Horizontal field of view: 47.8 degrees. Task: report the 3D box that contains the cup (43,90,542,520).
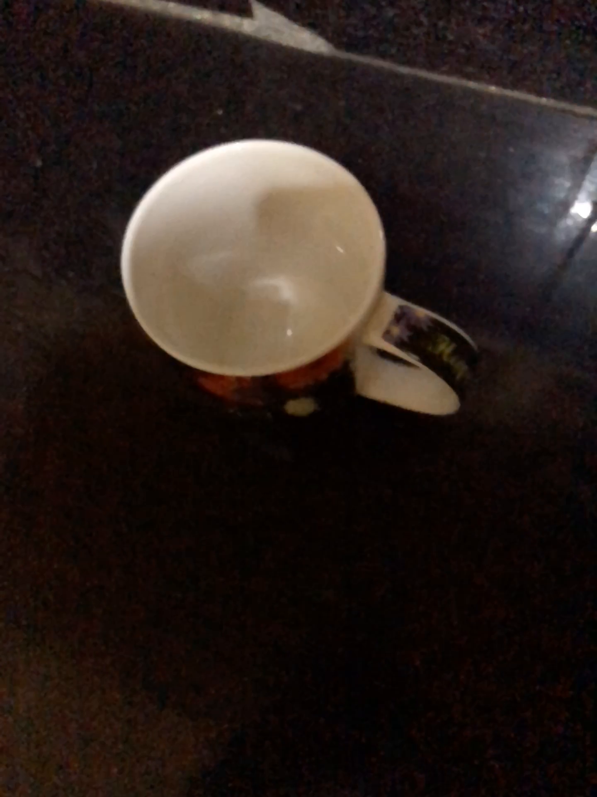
[{"bbox_3d":[0.001,-0.029,0.253,0.130,0.090,0.090,24,76,12],"label":"cup"}]
